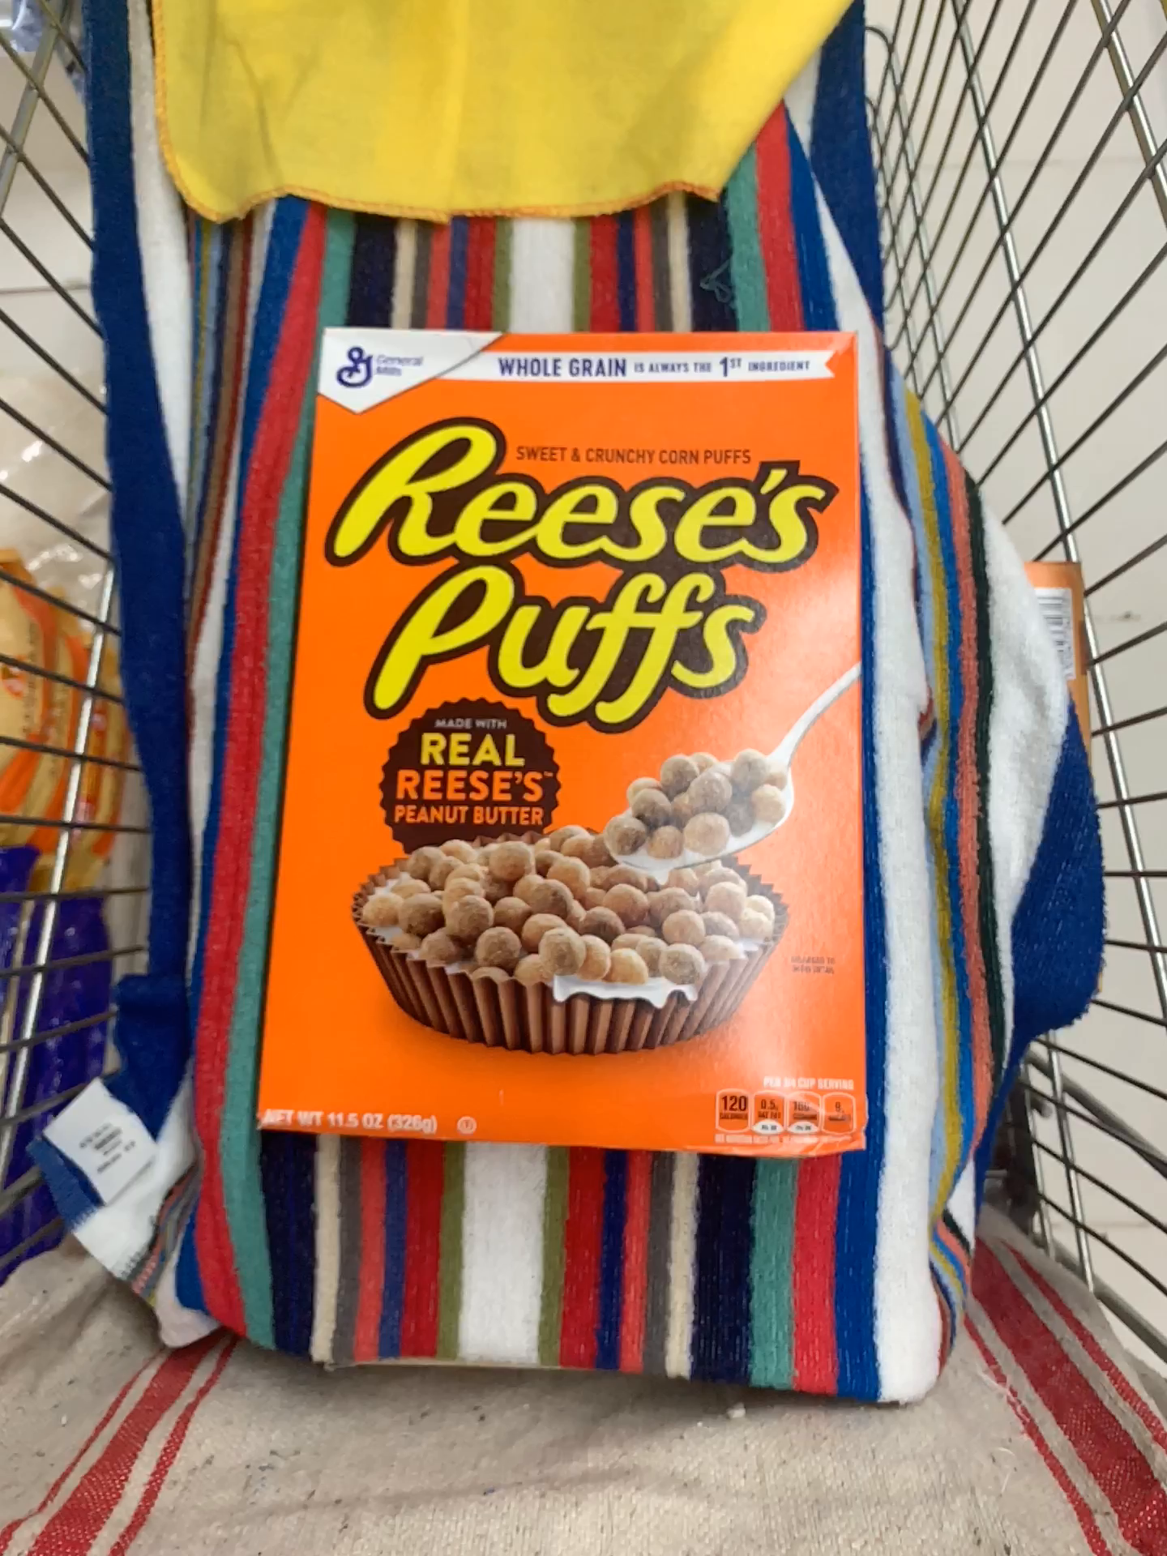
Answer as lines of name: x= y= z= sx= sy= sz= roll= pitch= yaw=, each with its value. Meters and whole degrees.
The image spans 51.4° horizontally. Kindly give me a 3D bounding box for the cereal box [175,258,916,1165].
cereal box: x=-0.004 y=-0.023 z=0.386 sx=0.200 sy=0.080 sz=0.260 roll=2 pitch=80 yaw=4
